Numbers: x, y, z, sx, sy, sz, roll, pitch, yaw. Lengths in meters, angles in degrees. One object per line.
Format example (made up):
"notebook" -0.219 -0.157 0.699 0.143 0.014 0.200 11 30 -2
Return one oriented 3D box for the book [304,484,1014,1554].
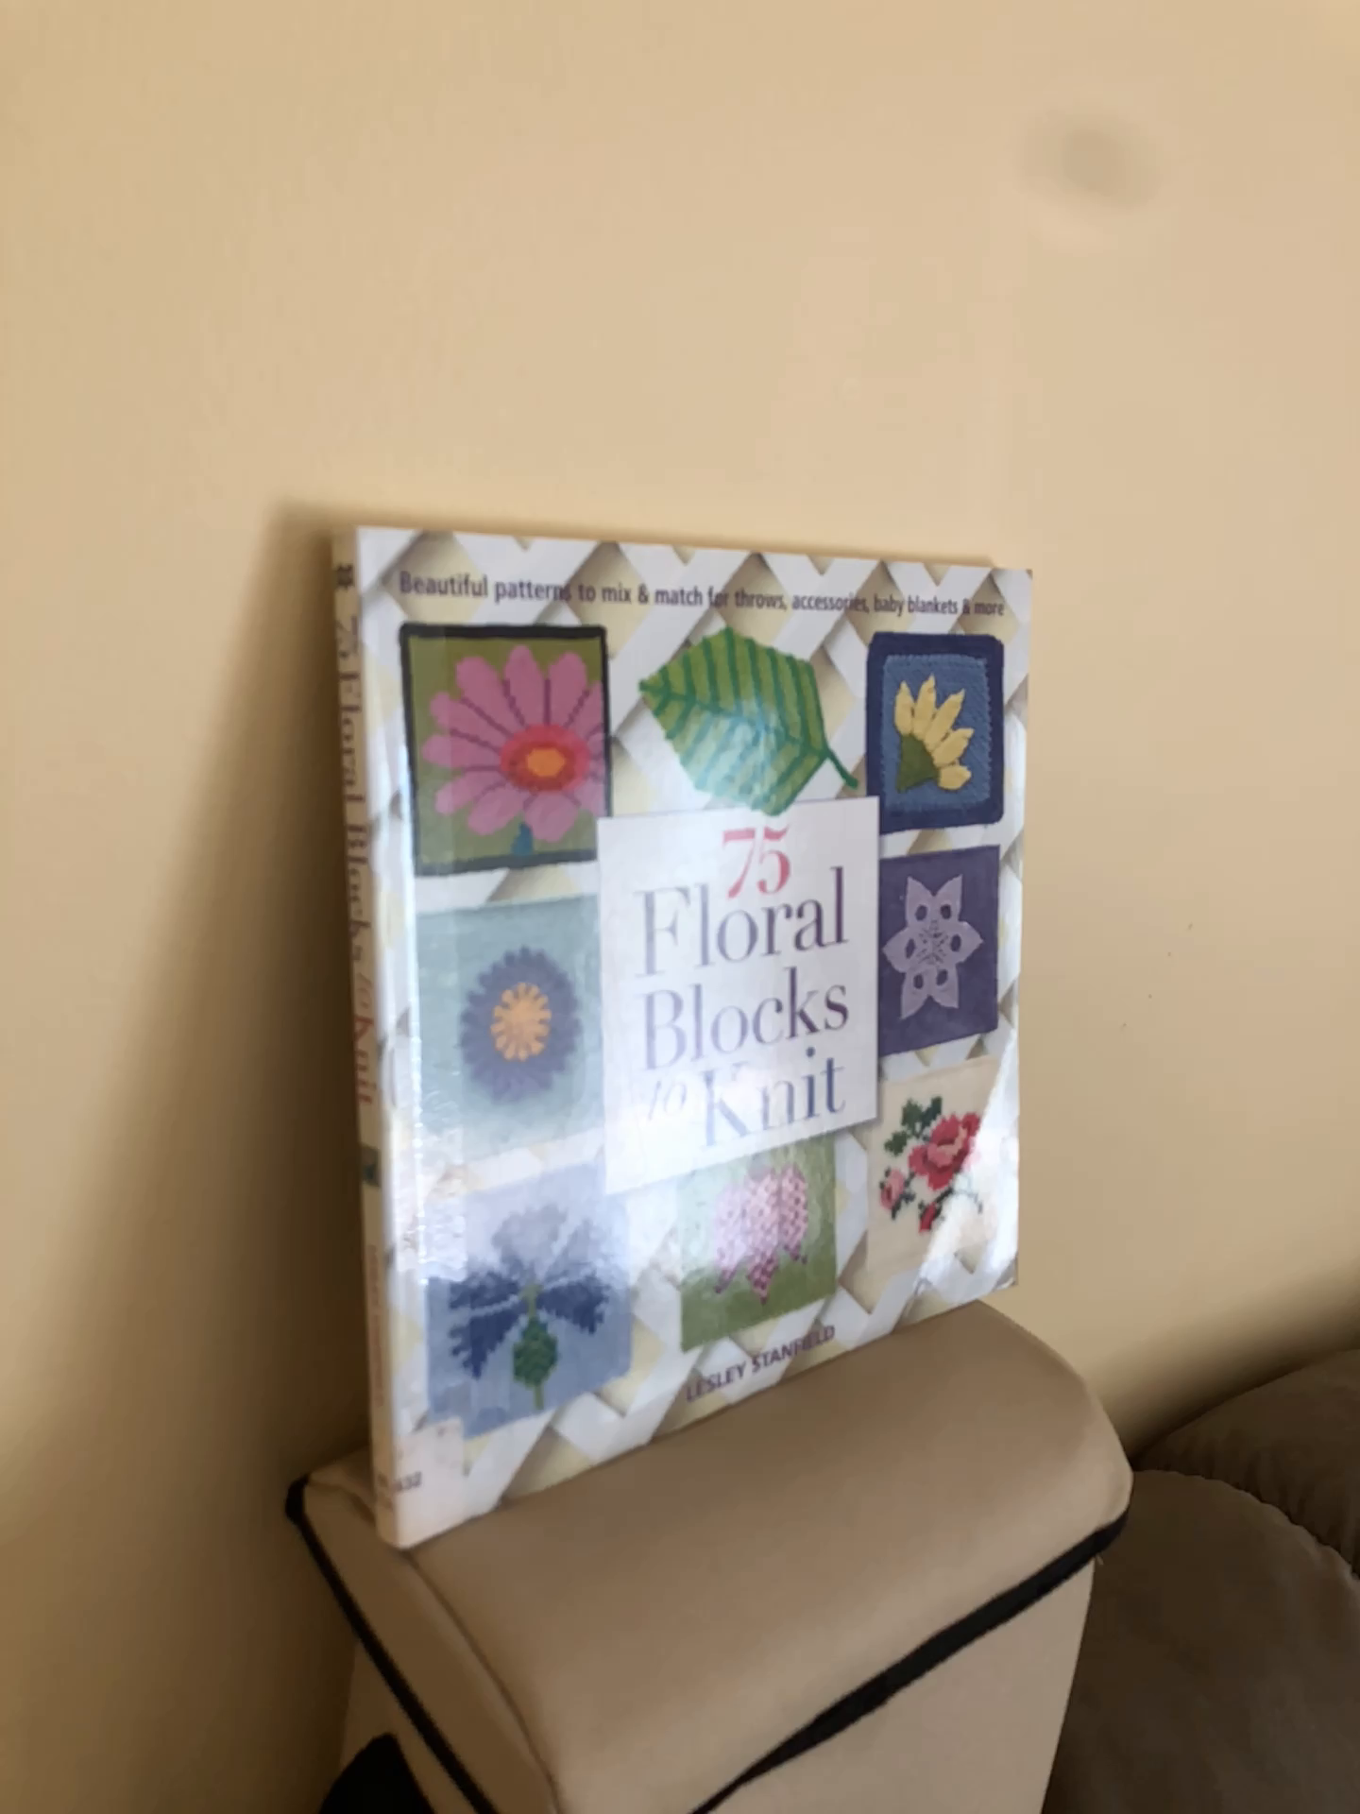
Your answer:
"book" 0.013 0.016 0.378 0.218 0.215 0.020 -6 7 -43
